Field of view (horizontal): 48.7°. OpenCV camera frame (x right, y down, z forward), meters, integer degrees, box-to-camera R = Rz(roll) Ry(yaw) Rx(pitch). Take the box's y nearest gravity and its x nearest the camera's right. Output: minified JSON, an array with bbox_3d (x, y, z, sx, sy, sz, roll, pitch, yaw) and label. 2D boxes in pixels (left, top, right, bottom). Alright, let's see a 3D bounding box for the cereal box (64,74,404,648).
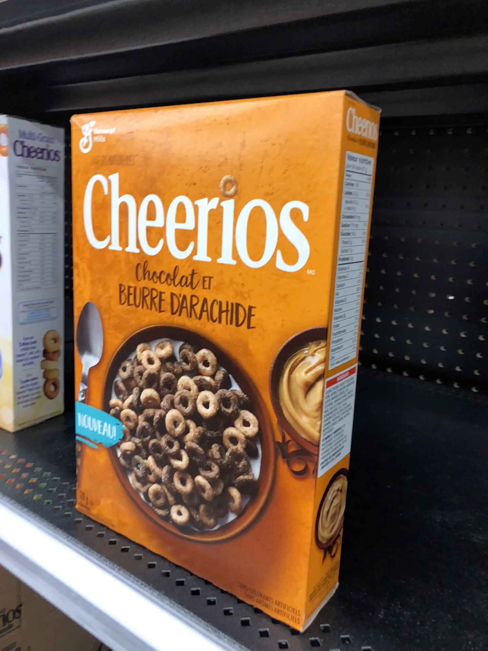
[{"bbox_3d":[-0.023,0.012,0.342,0.200,0.289,0.060,11,14,34],"label":"cereal box"}]
